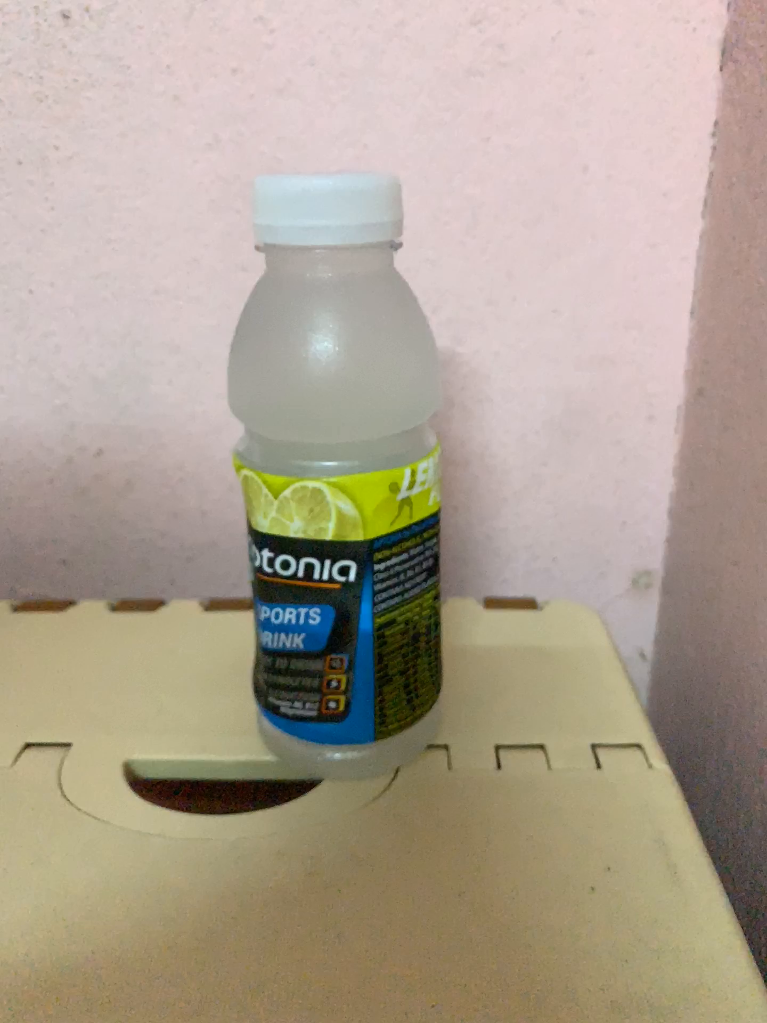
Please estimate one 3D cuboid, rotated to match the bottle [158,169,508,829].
[{"bbox_3d":[-0.010,-0.006,0.244,0.070,0.179,0.060,11,25,28],"label":"bottle"}]
